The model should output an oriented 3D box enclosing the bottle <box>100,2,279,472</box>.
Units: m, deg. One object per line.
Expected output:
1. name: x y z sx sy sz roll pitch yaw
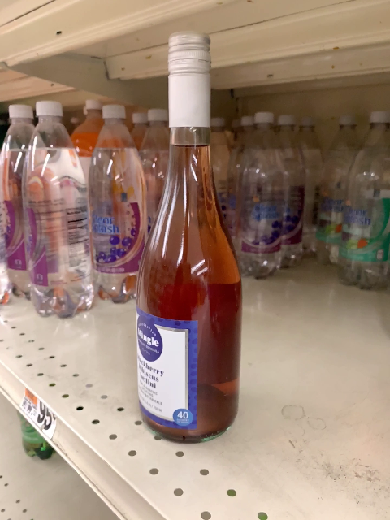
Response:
1. bottle: -0.004 -0.008 0.309 0.080 0.299 0.090 -13 21 -37
